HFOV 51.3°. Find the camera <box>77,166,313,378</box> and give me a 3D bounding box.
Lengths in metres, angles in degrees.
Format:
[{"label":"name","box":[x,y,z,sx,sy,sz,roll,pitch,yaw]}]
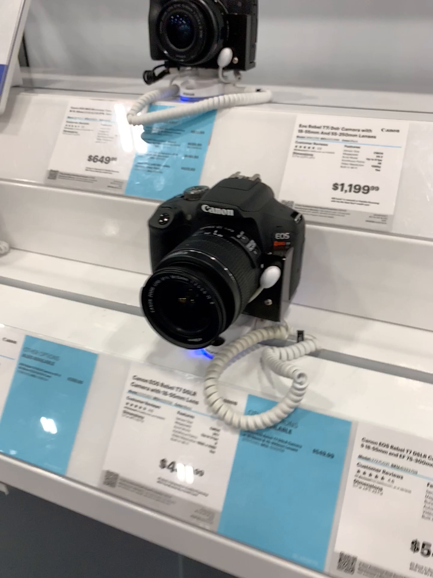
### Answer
[{"label":"camera","box":[-0.004,-0.027,0.352,0.130,0.090,0.151,9,31,15]}]
